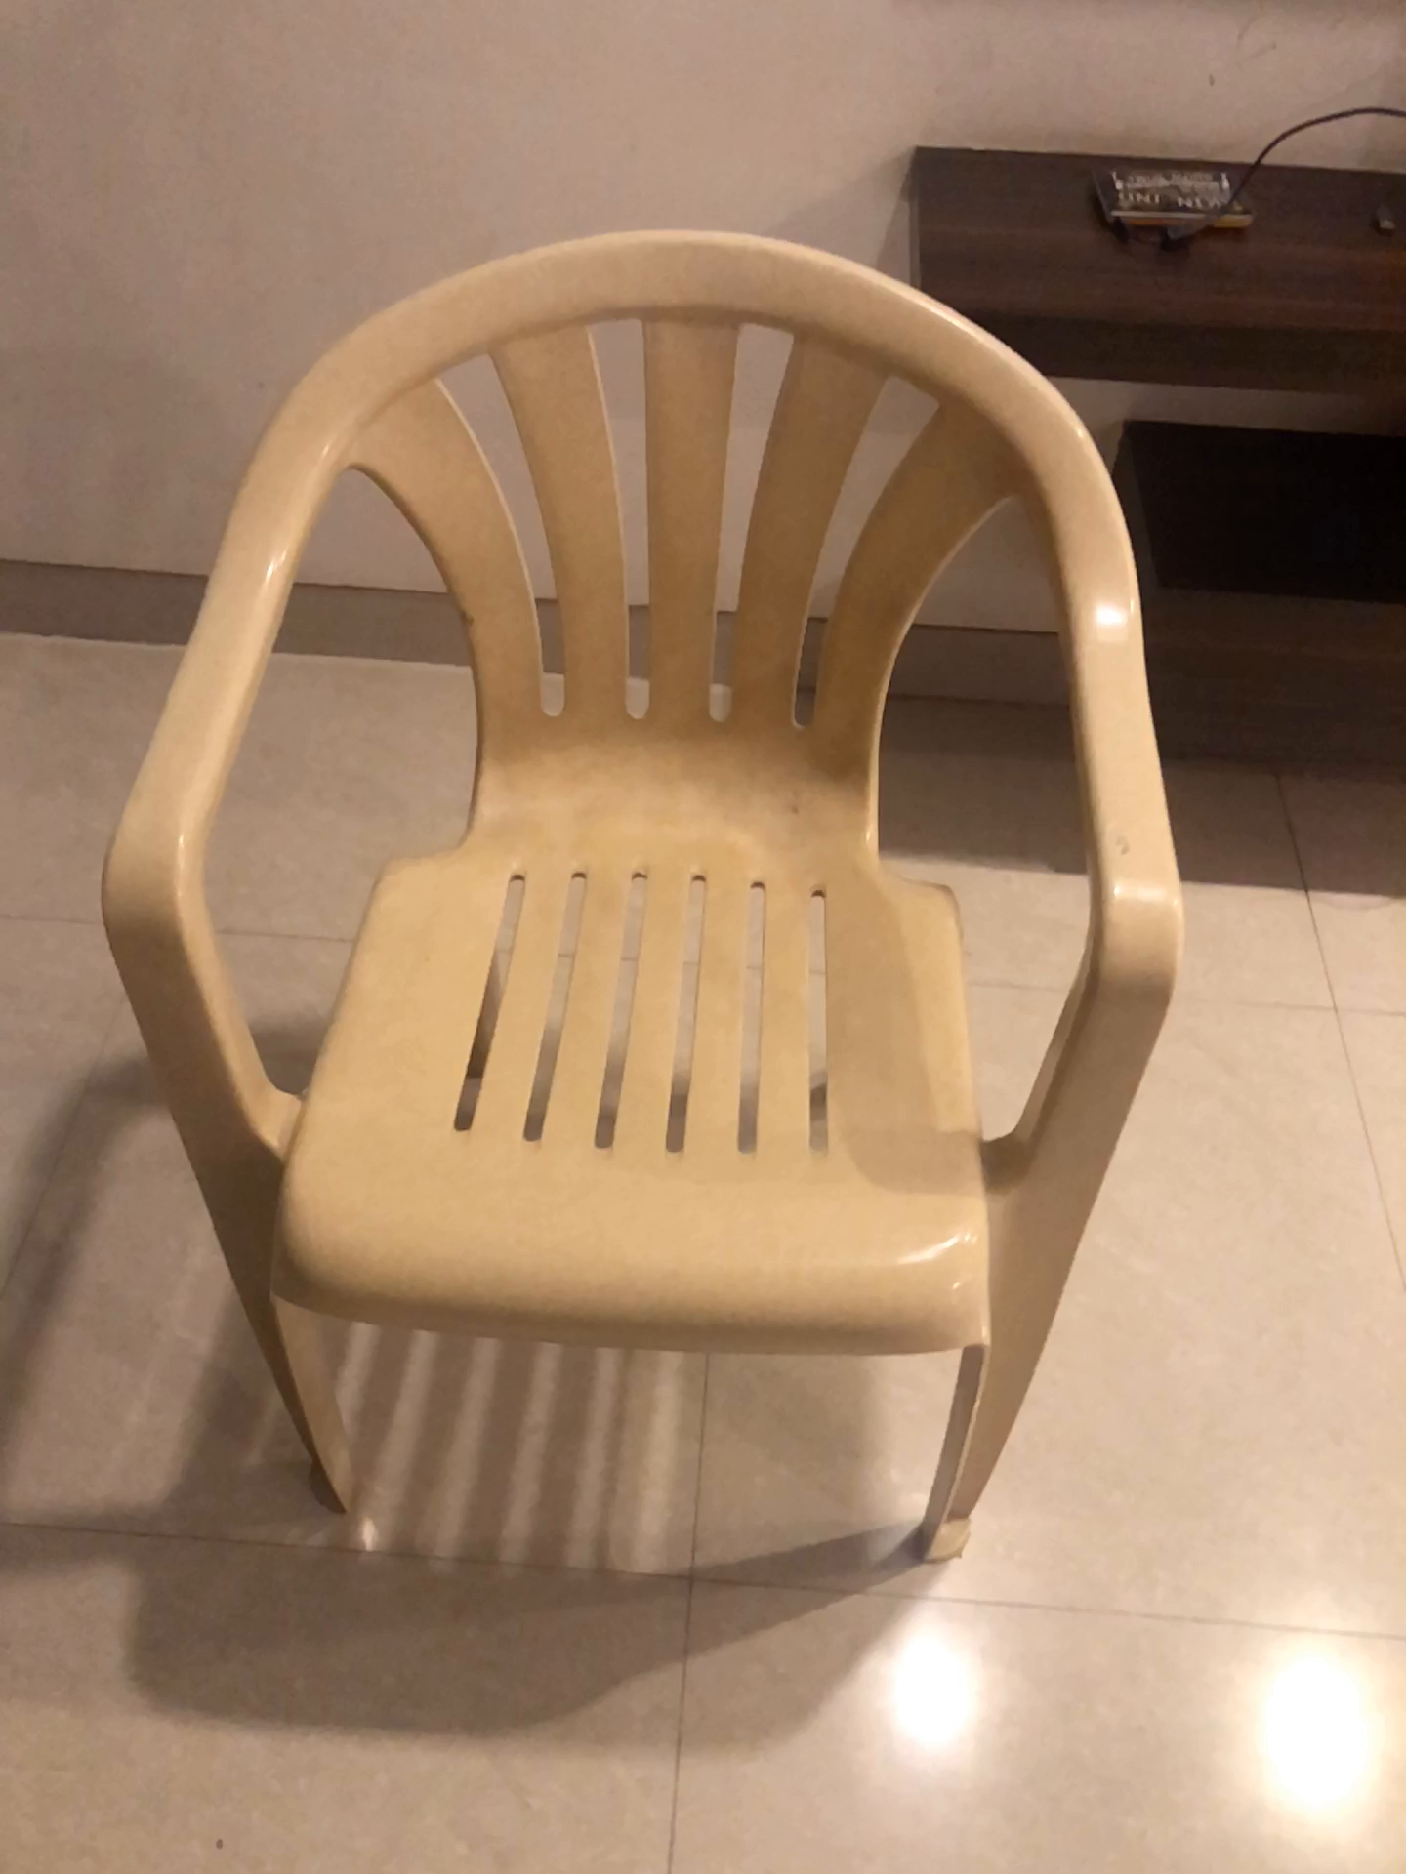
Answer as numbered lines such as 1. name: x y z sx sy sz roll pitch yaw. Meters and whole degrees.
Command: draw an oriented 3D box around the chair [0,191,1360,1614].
1. chair: -0.032 0.018 1.071 0.570 0.775 0.594 3 49 1
